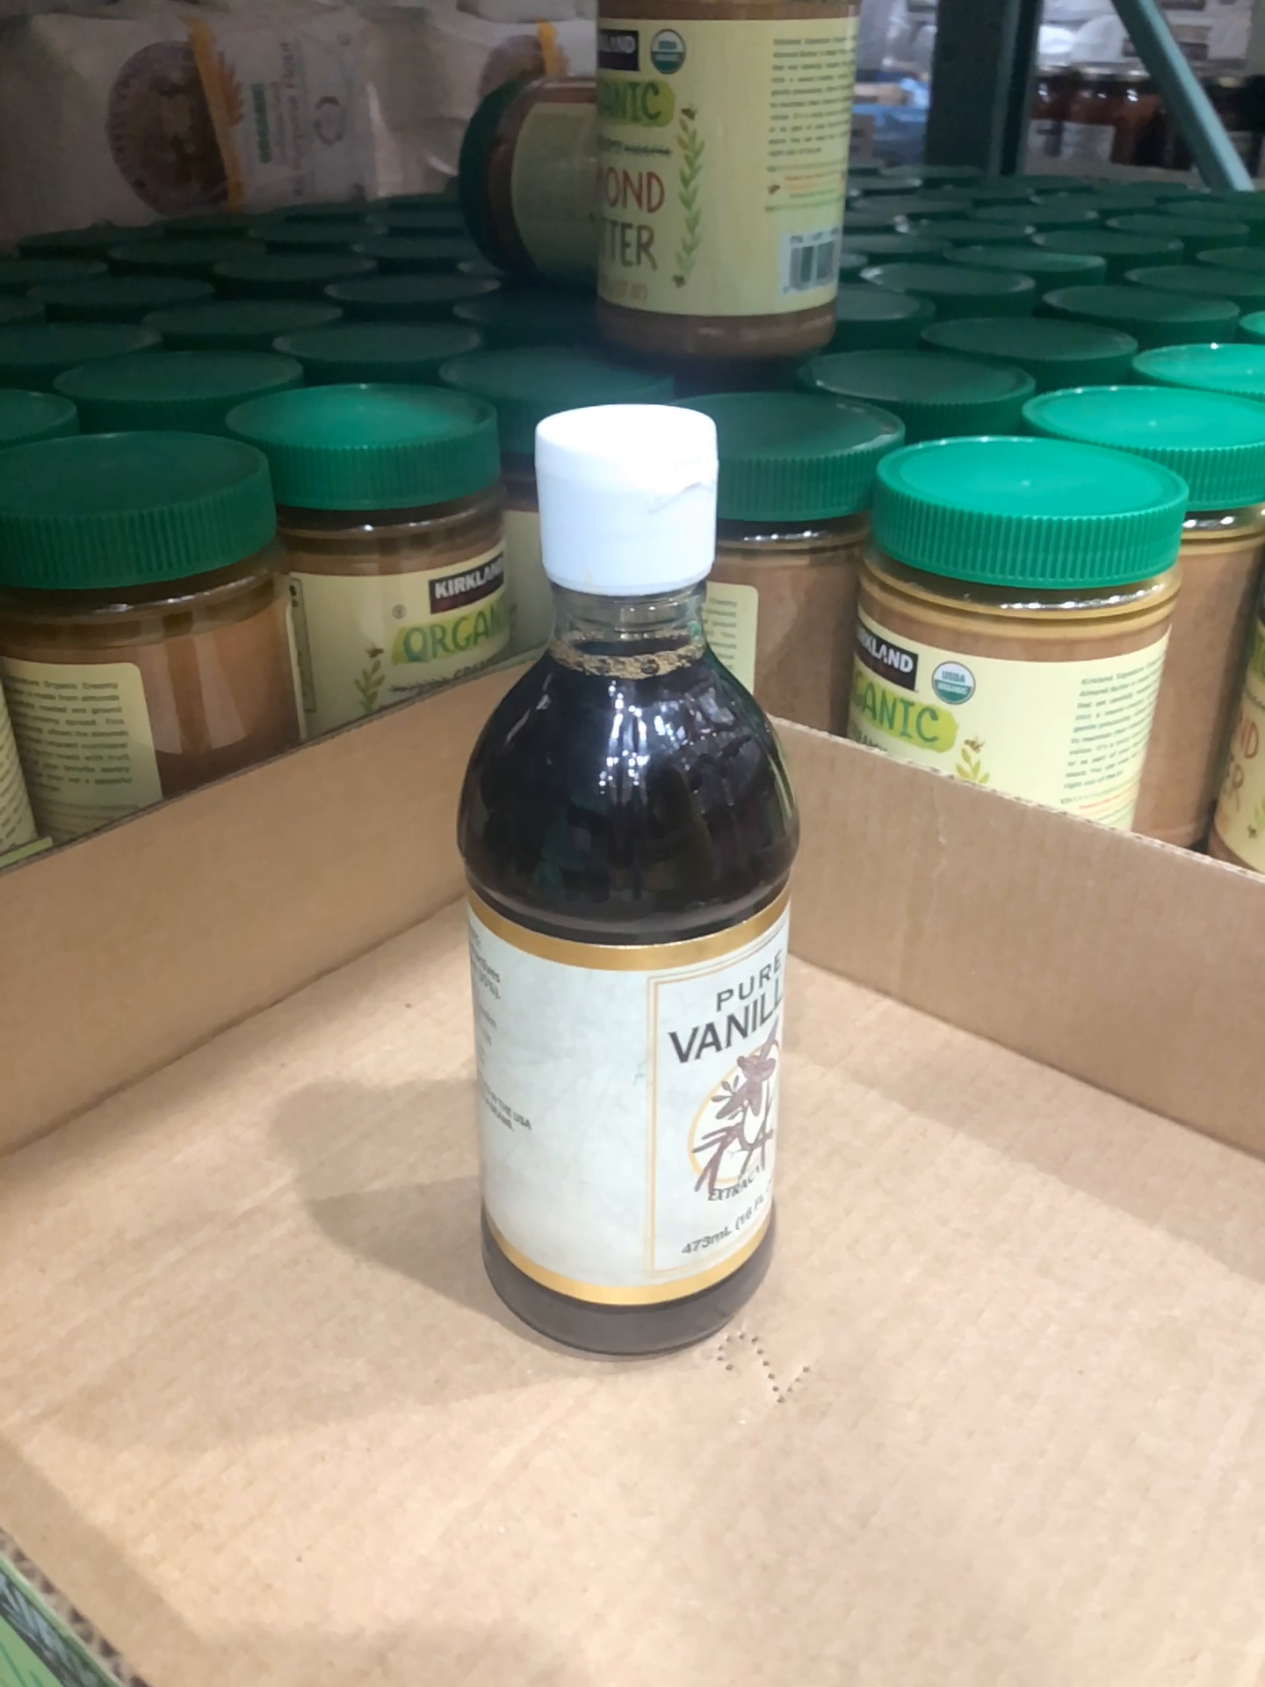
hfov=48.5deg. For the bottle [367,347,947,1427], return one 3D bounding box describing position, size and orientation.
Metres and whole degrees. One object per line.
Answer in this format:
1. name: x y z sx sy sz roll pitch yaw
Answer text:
1. bottle: 0.004 0.011 0.289 0.070 0.199 0.070 0 30 0
